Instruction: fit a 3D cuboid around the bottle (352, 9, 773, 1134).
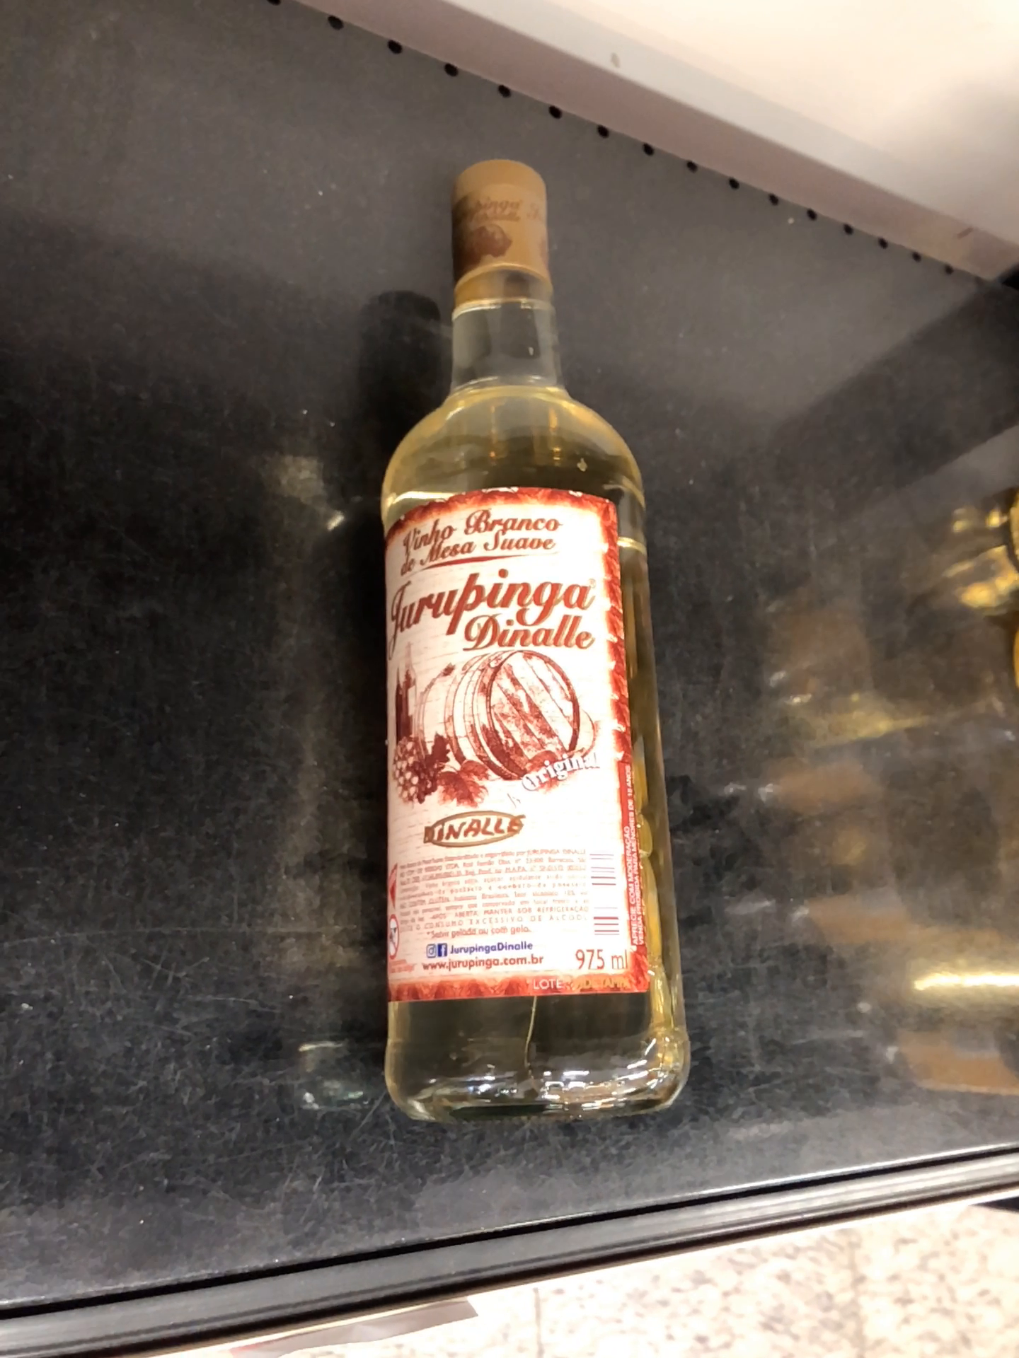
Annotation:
[{"bbox_3d":[0.016,-0.030,0.346,0.100,0.080,0.300,26,59,-60],"label":"bottle"}]
